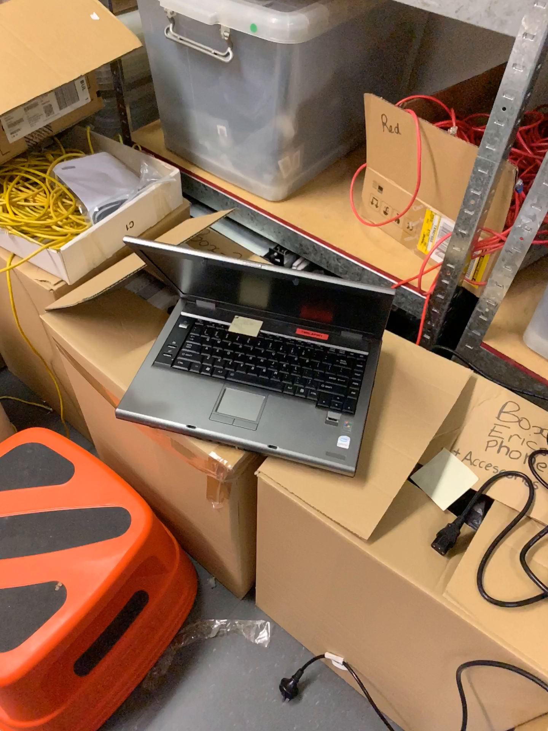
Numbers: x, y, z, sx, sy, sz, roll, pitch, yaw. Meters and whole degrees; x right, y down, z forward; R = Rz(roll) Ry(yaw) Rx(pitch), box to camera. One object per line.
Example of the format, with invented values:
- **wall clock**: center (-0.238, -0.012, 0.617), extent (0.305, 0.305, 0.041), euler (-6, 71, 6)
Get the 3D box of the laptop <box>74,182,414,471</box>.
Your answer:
- **laptop**: center (-0.026, -0.063, 0.786), extent (0.360, 0.238, 0.263), euler (12, 49, 10)
